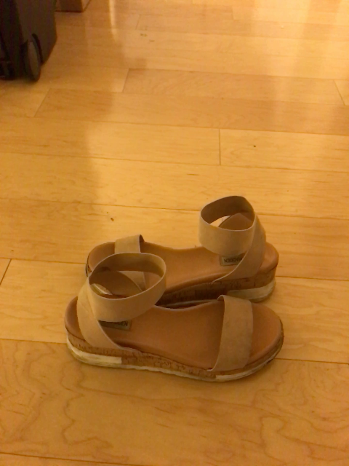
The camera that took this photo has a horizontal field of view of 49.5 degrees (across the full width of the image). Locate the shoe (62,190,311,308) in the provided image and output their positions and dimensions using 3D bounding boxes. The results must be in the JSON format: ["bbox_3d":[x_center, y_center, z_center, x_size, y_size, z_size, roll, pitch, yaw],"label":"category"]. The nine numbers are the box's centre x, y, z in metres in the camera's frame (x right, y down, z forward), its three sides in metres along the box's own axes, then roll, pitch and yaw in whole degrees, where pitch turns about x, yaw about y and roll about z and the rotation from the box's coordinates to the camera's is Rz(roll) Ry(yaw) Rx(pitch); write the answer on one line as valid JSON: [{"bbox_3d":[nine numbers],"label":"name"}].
[{"bbox_3d":[0.012,0.021,0.483,0.270,0.109,0.101,0,48,-3],"label":"shoe"}]

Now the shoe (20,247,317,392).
[{"bbox_3d":[-0.005,0.096,0.413,0.270,0.109,0.091,5,48,1],"label":"shoe"}]
